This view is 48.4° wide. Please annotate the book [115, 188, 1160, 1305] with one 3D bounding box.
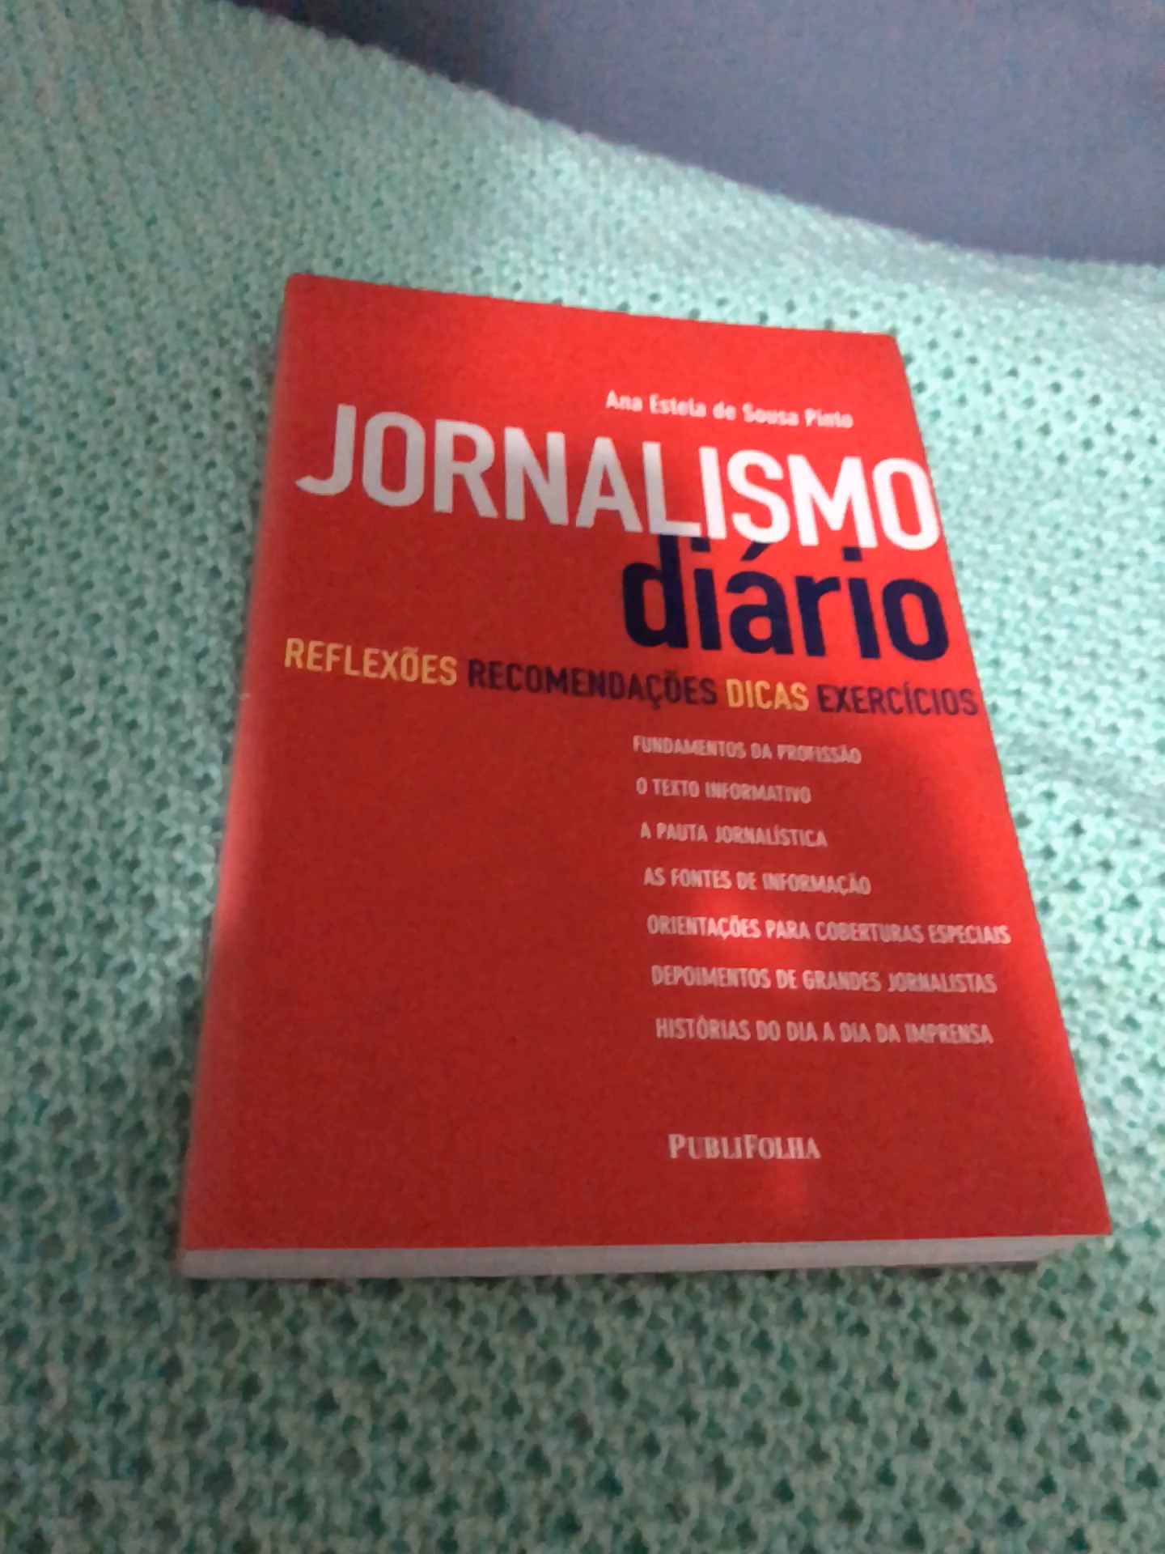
[{"bbox_3d":[0.005,-0.027,0.274,0.160,0.030,0.251,2,58,-7],"label":"book"}]
